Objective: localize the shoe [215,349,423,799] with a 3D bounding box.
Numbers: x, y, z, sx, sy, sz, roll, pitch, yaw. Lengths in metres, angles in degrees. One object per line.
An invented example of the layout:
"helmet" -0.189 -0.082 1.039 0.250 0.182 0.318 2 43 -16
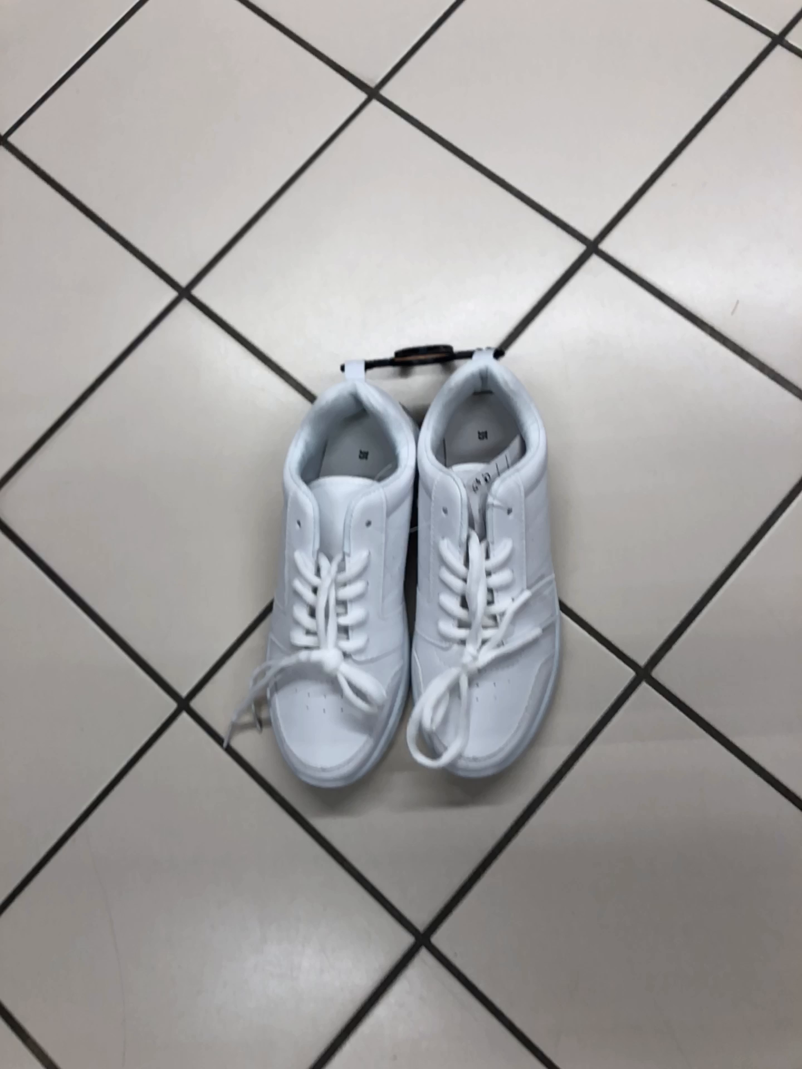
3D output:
"shoe" -0.040 0.024 0.514 0.090 0.090 0.240 1 77 7

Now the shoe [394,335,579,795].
"shoe" 0.051 0.018 0.502 0.090 0.090 0.240 1 77 7
